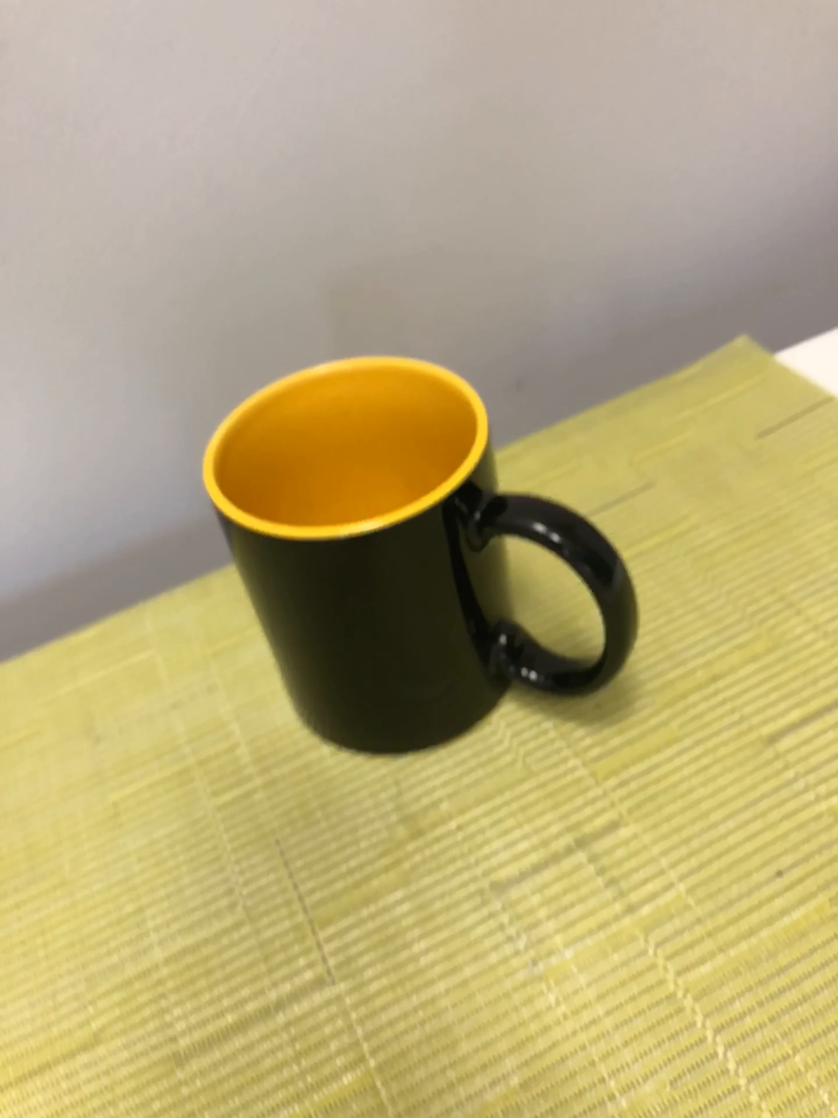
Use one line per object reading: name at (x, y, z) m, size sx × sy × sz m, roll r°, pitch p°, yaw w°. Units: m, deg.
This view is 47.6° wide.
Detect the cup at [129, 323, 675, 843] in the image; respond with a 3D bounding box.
cup at (0.005, 0.003, 0.283) m, size 0.119 × 0.104 × 0.088 m, roll 10°, pitch 47°, yaw 23°
